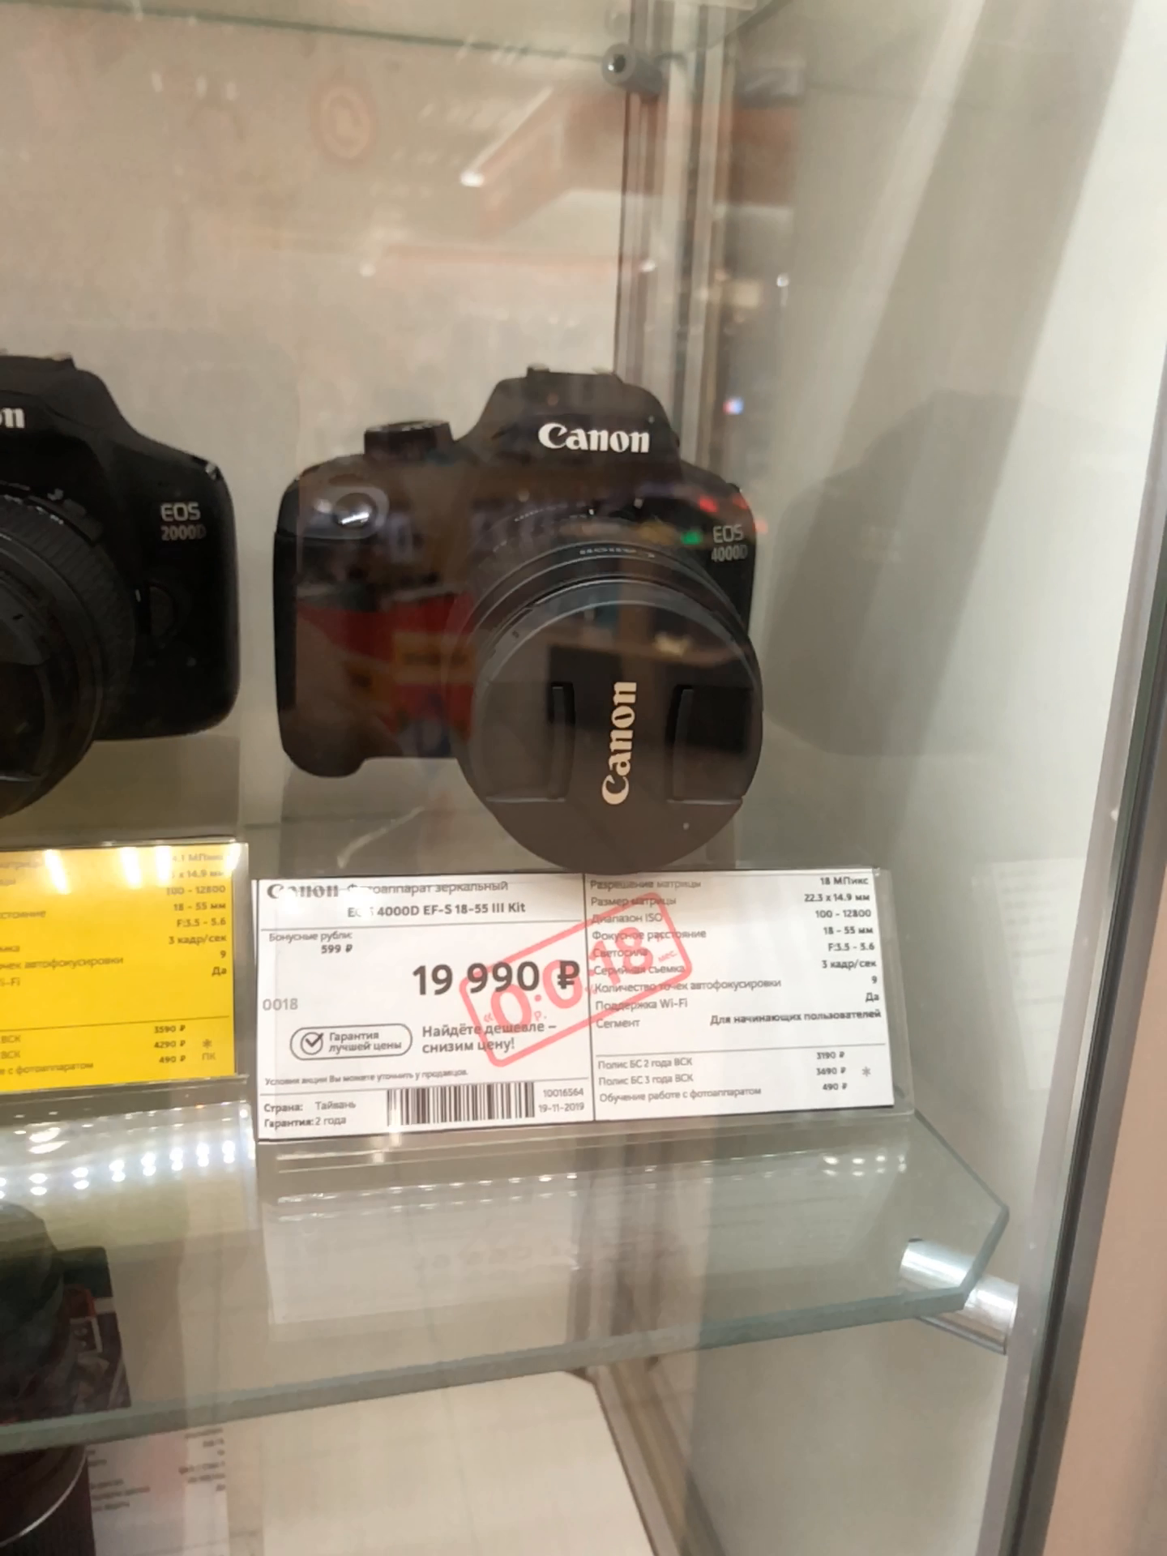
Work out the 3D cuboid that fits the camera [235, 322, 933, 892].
[{"bbox_3d":[-0.014,-0.048,0.310,0.125,0.100,0.147,-1,16,-12],"label":"camera"}]
